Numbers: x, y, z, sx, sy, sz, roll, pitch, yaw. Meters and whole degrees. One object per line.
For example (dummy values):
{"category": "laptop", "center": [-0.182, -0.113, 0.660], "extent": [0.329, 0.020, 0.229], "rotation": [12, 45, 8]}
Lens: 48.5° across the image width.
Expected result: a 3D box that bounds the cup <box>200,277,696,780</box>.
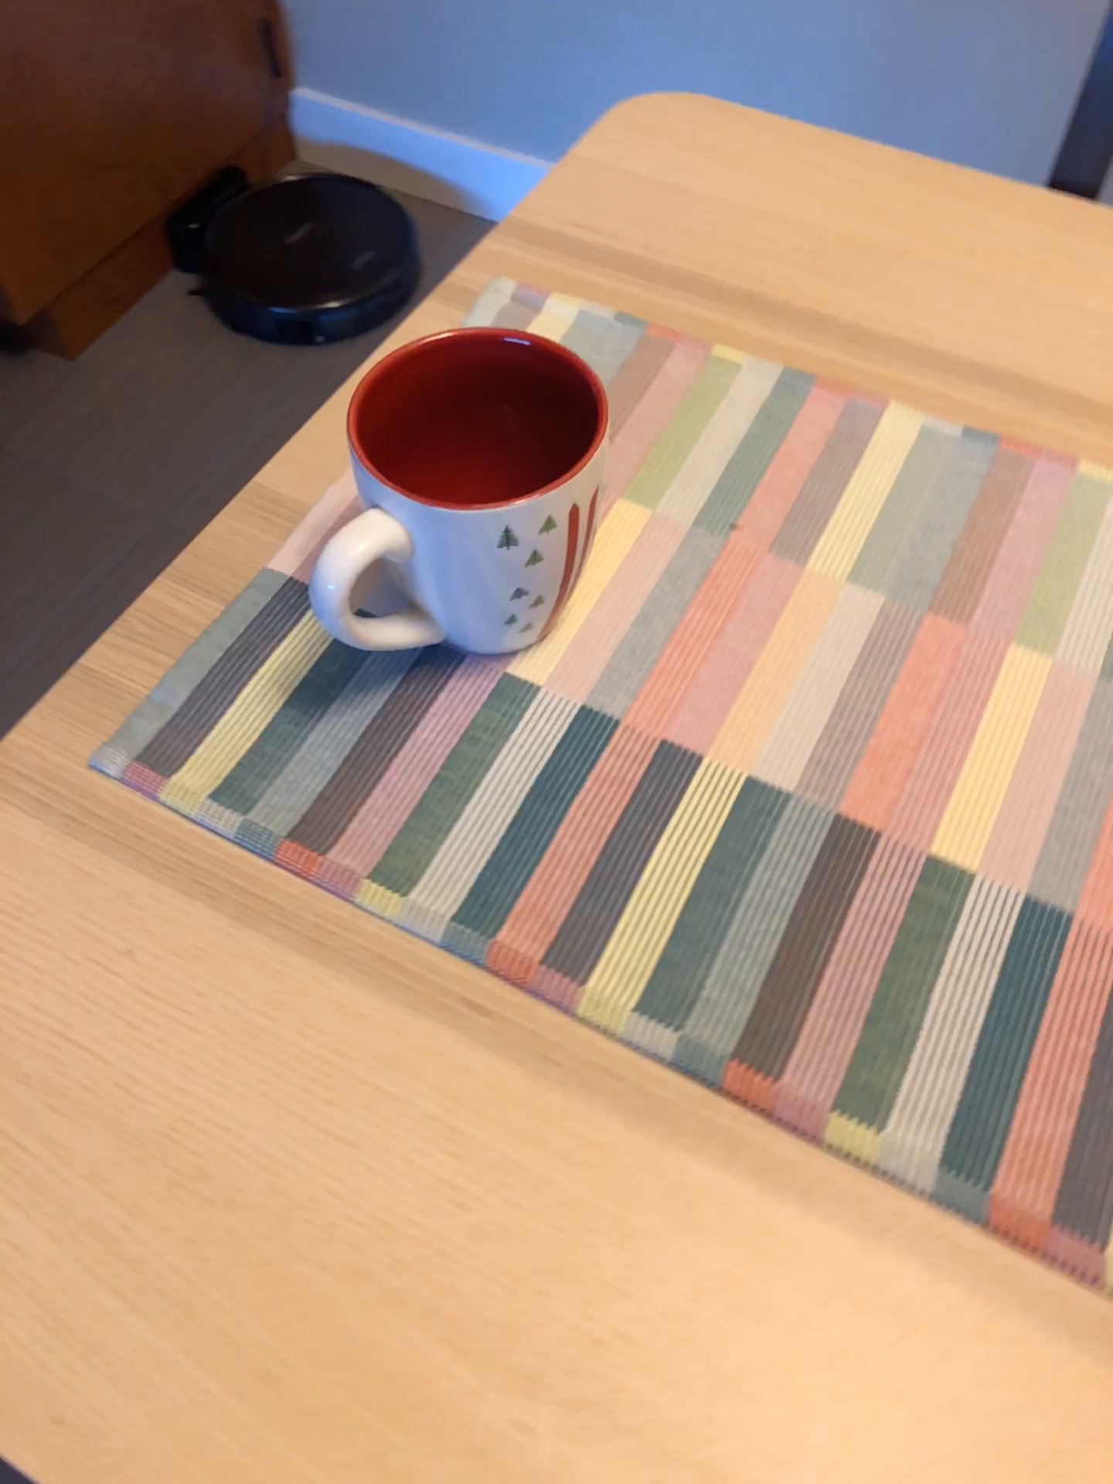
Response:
{"category": "cup", "center": [-0.035, -0.082, 0.461], "extent": [0.100, 0.090, 0.140], "rotation": [37, 63, 23]}
